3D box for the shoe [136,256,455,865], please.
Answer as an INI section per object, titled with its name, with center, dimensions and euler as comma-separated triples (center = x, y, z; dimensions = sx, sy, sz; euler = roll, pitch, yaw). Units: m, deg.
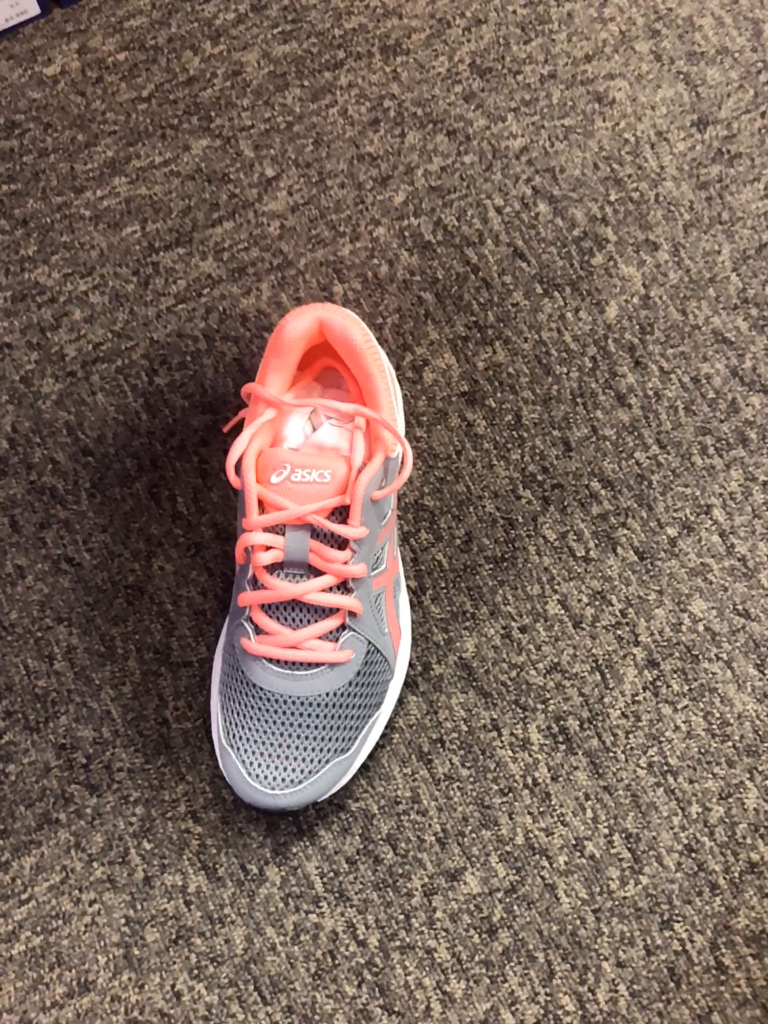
[shoe]
center = -0.033, 0.022, 0.410
dimensions = 0.110, 0.110, 0.250
euler = 4, 78, 0
